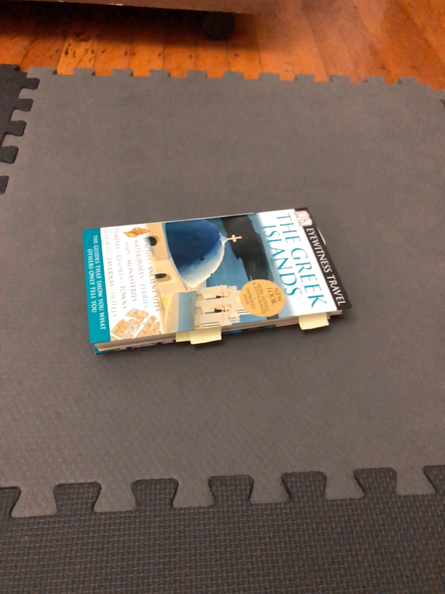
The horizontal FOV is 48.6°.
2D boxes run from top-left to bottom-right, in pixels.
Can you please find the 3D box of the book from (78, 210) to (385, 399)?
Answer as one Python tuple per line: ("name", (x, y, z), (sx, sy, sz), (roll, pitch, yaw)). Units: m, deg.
("book", (-0.002, -0.005, 0.438), (0.240, 0.030, 0.161), (-6, 51, -10))
